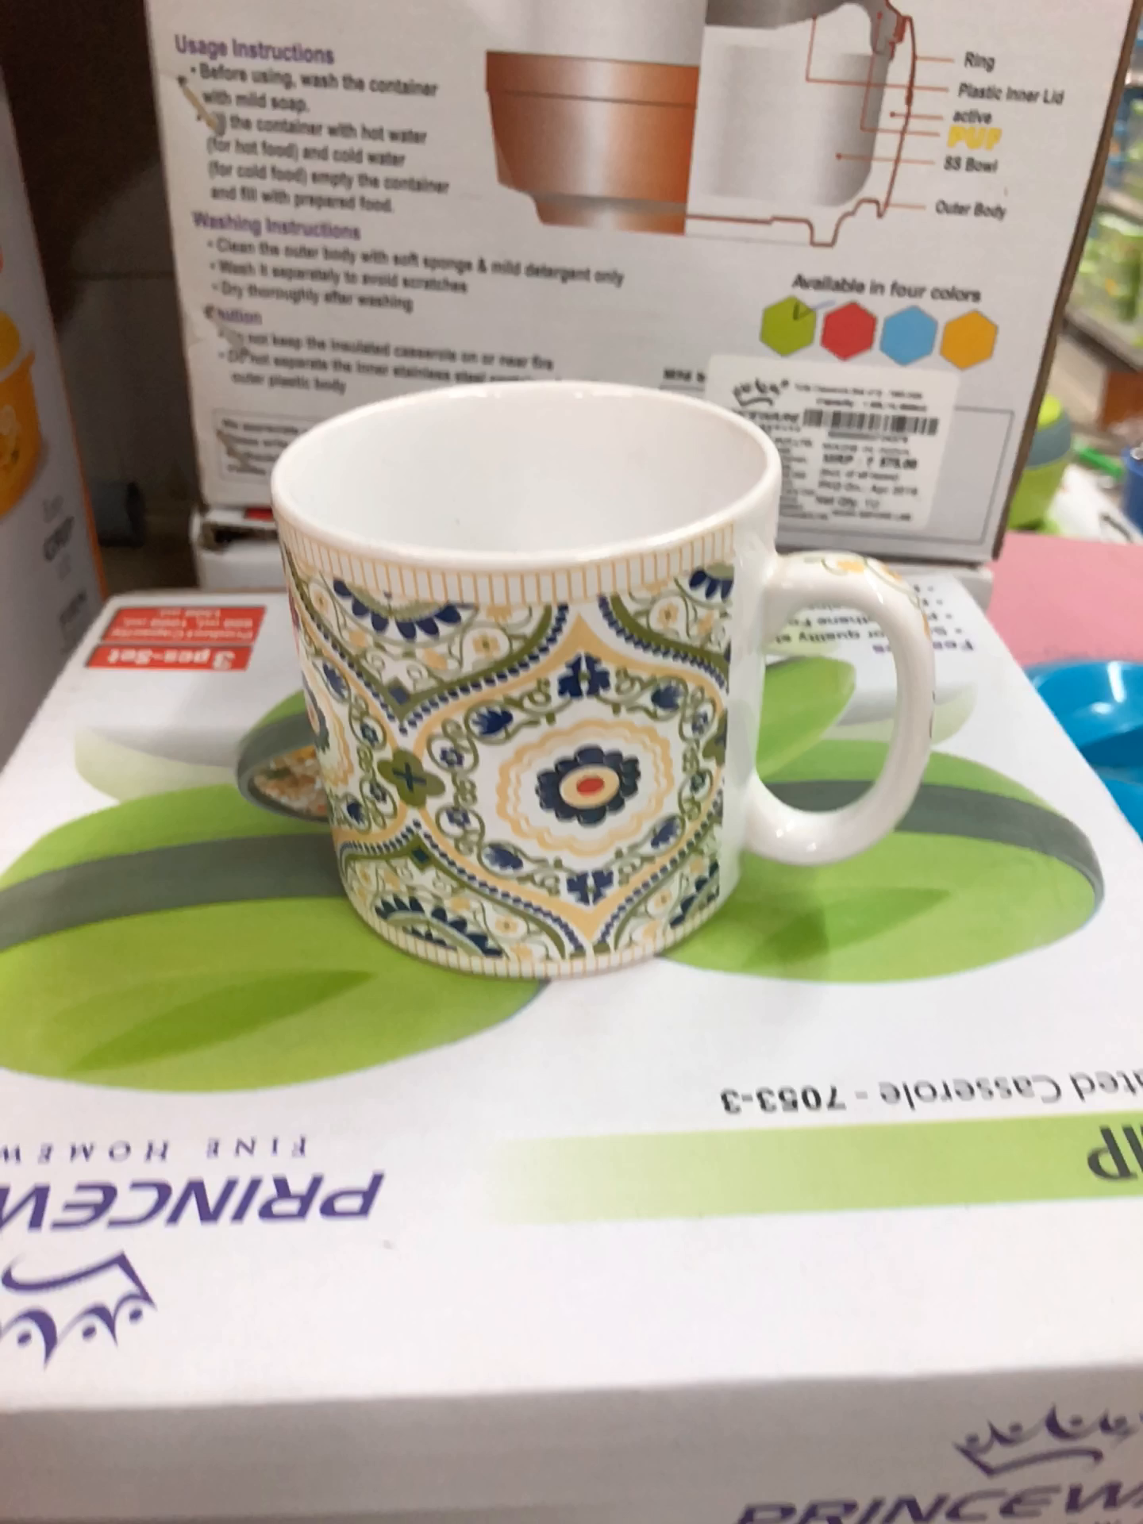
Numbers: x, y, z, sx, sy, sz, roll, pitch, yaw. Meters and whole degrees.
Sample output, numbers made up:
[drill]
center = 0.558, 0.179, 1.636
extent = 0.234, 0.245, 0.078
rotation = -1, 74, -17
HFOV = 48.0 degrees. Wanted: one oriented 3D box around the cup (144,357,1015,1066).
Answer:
[cup]
center = 0.006, -0.014, 0.207
extent = 0.110, 0.079, 0.070
rotation = 6, 31, 13
